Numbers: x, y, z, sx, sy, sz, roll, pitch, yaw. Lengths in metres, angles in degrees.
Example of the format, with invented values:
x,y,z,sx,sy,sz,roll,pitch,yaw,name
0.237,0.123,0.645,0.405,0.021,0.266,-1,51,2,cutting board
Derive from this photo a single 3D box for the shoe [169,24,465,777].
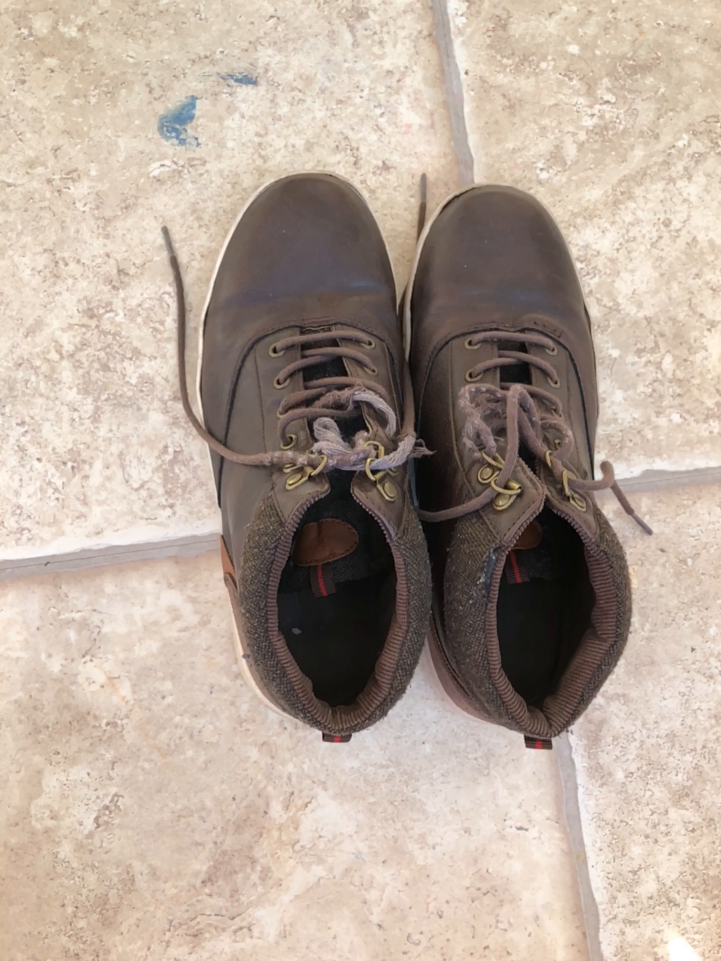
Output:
x,y,z,sx,sy,sz,roll,pitch,yaw,name
-0.025,-0.032,0.390,0.110,0.150,0.300,-1,83,-4,shoe

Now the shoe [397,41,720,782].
x,y,z,sx,sy,sz,roll,pitch,yaw,name
0.082,-0.027,0.396,0.110,0.150,0.300,1,83,-4,shoe
